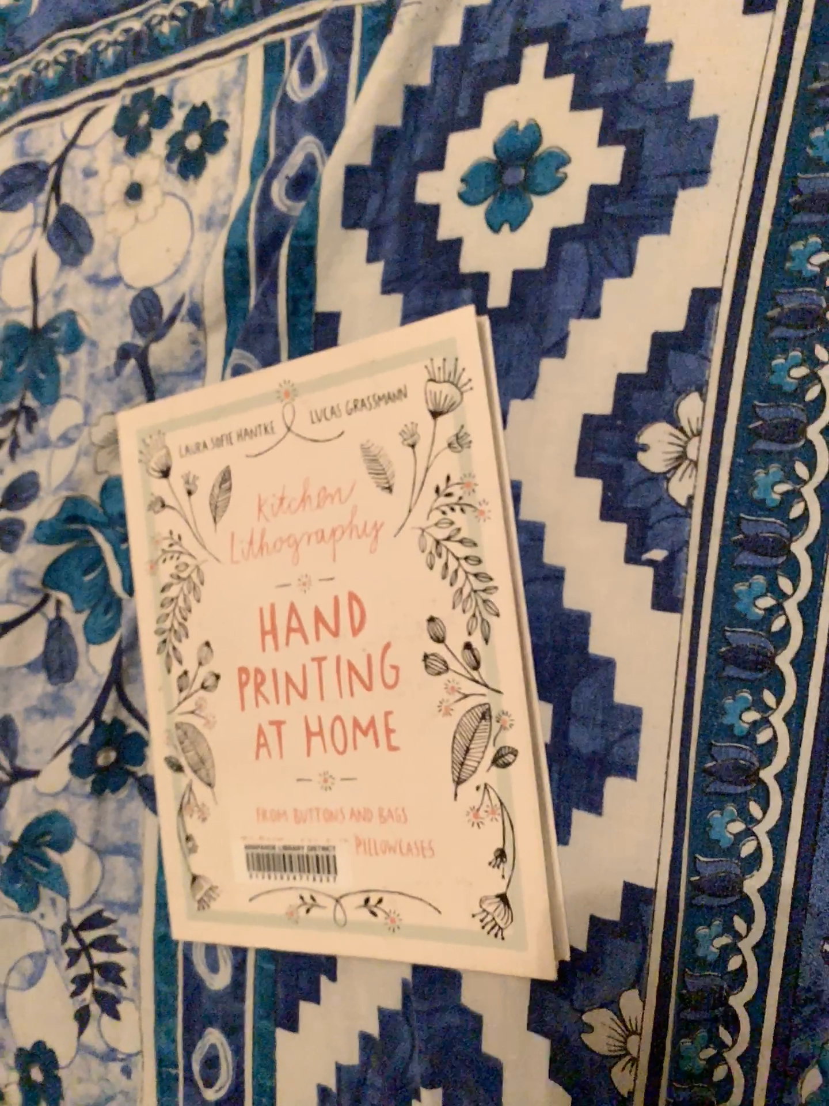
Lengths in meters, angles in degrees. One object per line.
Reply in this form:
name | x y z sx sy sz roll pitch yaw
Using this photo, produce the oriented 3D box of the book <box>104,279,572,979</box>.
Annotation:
book | -0.040 0.032 0.321 0.171 0.020 0.220 -9 84 29
